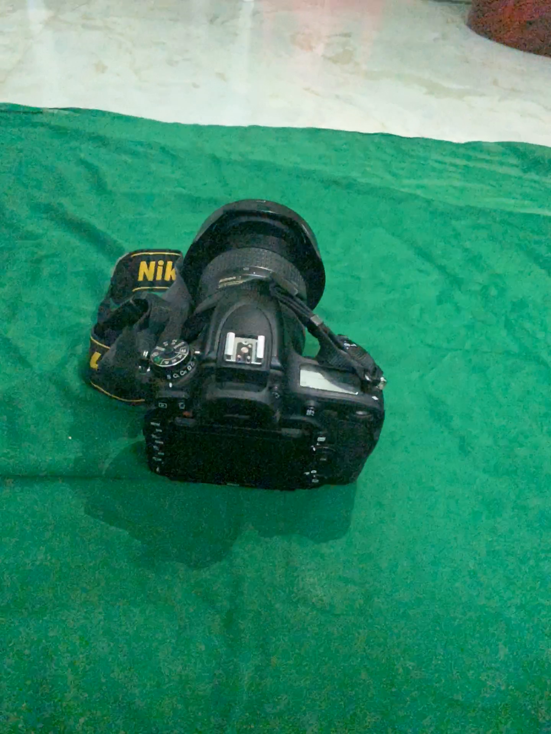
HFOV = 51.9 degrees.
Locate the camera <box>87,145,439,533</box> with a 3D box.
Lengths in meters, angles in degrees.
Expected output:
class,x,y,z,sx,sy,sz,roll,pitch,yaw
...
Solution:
class,x,y,z,sx,sy,sz,roll,pitch,yaw
camera,0.000,-0.045,0.412,0.170,0.100,0.291,7,43,-1
